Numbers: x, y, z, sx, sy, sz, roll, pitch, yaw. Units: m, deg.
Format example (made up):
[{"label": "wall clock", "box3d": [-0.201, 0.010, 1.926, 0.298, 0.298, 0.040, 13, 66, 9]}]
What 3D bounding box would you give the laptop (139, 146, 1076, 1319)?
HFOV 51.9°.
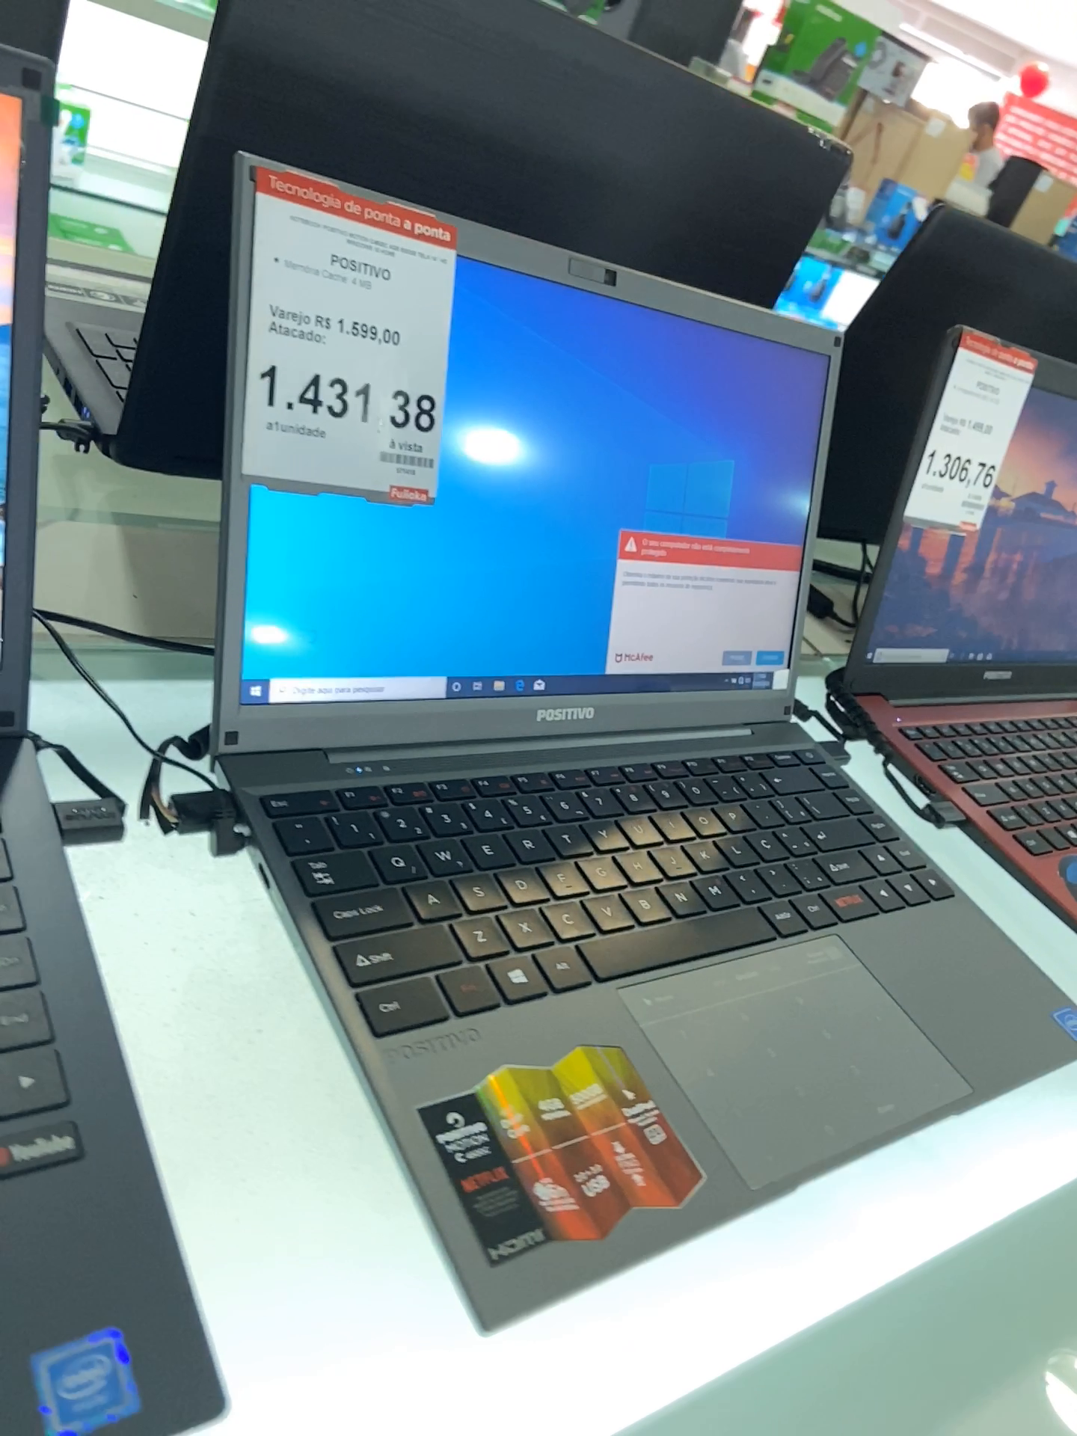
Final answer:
[{"label": "laptop", "box3d": [0.071, -0.025, 0.432, 0.331, 0.183, 0.320, -1, 40, -38]}]
